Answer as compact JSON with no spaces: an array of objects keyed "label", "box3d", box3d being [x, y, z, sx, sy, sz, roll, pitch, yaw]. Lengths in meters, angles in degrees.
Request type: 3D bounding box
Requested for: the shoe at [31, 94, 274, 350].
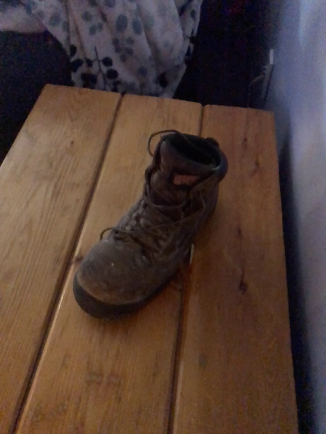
[{"label":"shoe","box3d":[0.003,-0.009,0.462,0.130,0.130,0.290,30,58,19]}]
